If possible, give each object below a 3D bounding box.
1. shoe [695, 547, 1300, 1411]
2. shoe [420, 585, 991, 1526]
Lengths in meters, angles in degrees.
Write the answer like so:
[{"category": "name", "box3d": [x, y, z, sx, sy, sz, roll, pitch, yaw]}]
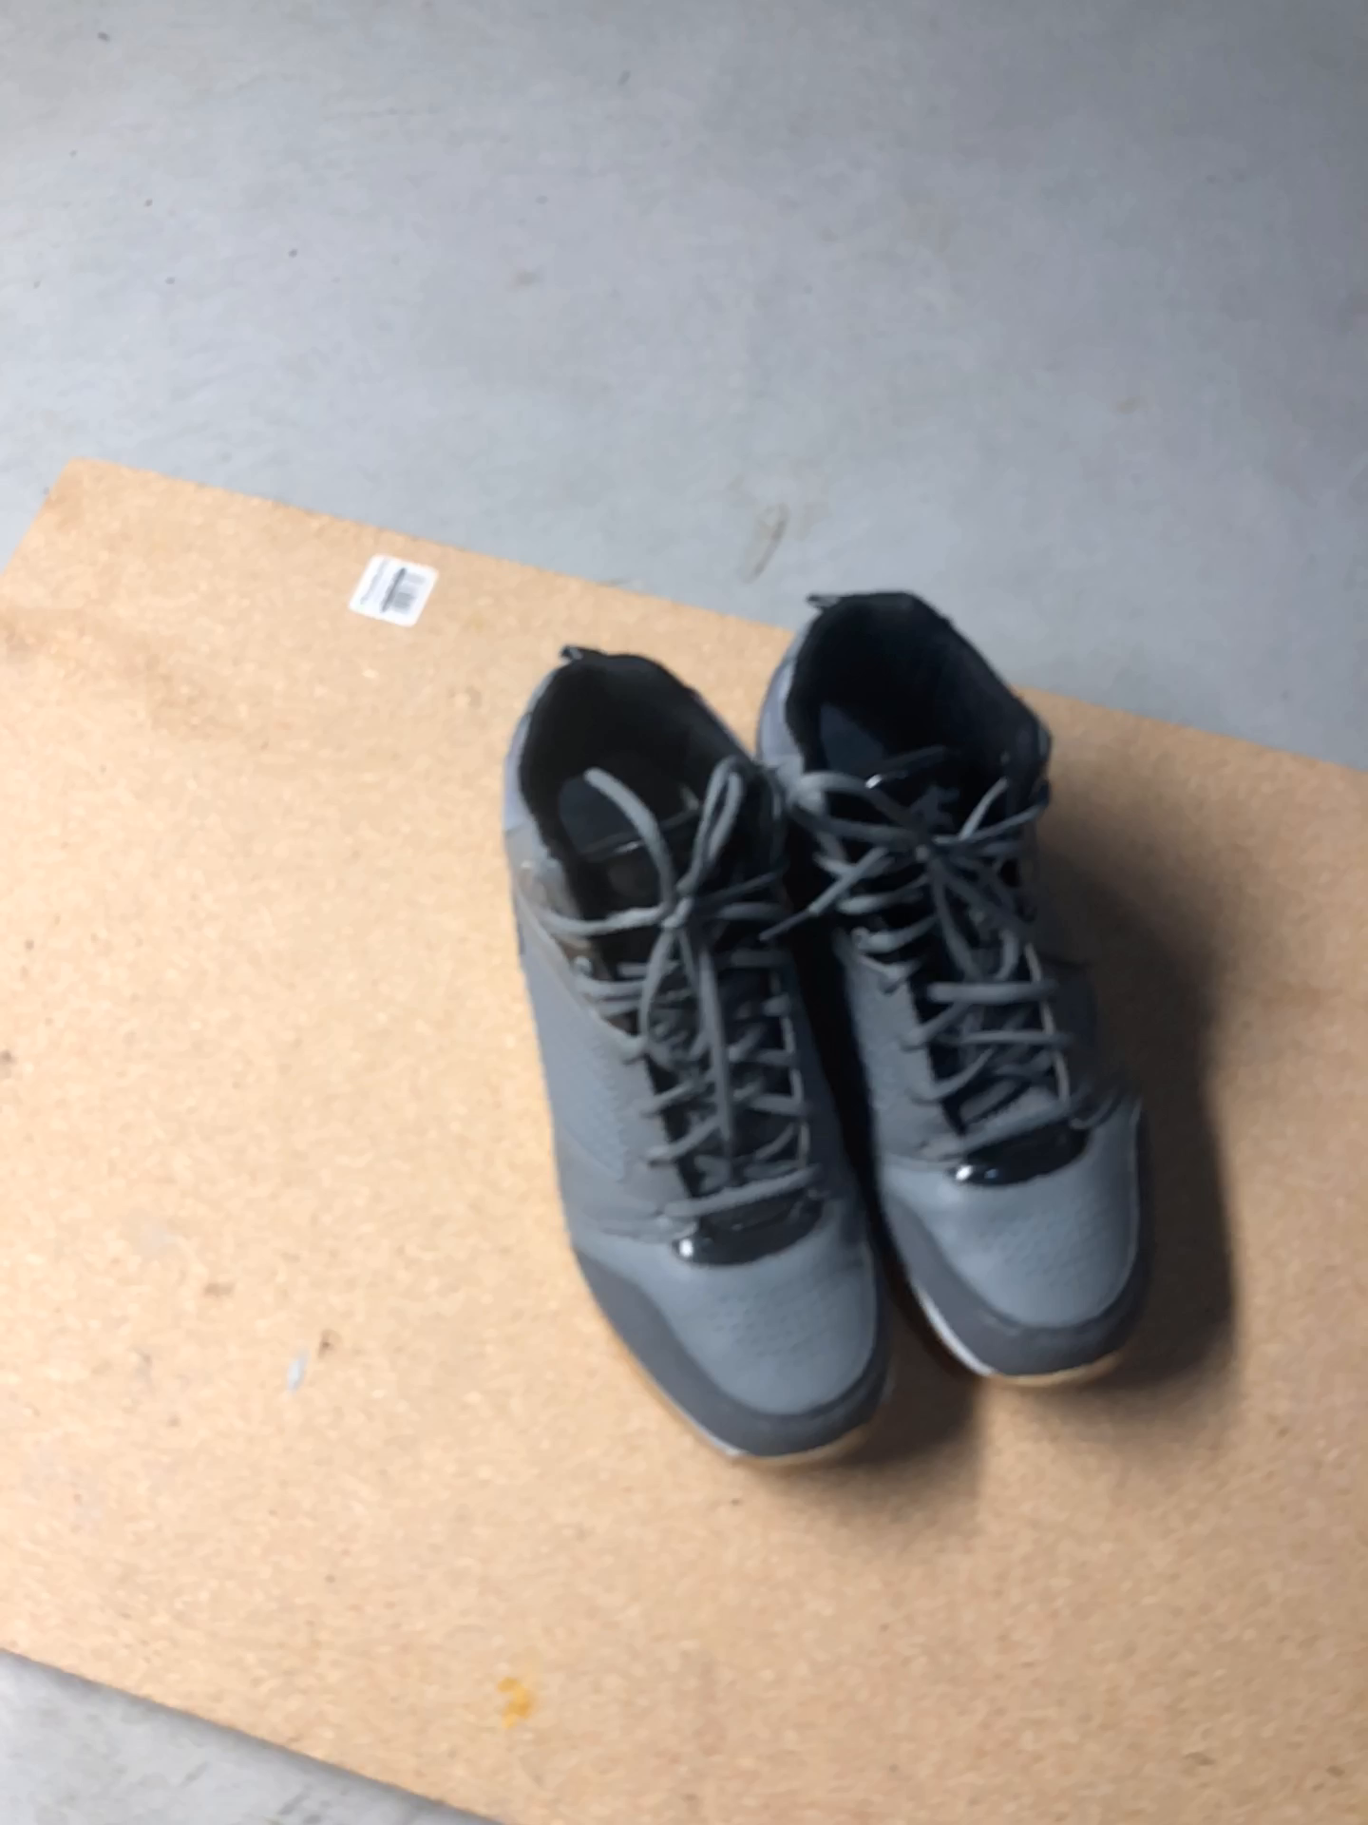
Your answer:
[{"category": "shoe", "box3d": [0.091, 0.025, 0.551, 0.100, 0.140, 0.260, -16, 65, -7]}, {"category": "shoe", "box3d": [-0.003, 0.046, 0.525, 0.110, 0.120, 0.280, -13, 65, -5]}]
